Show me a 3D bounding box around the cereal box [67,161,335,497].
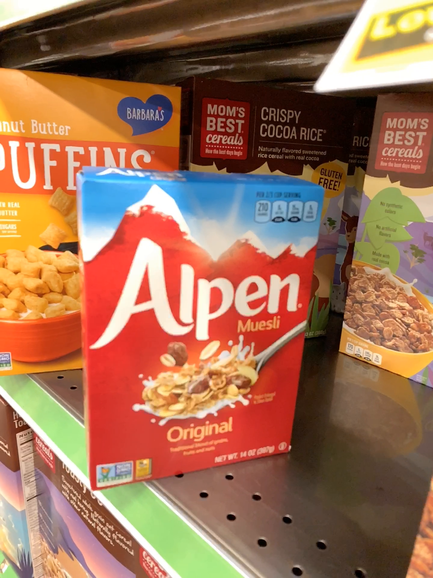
[{"bbox_3d":[-0.013,0.026,0.302,0.160,0.209,0.040,-3,19,-20],"label":"cereal box"}]
